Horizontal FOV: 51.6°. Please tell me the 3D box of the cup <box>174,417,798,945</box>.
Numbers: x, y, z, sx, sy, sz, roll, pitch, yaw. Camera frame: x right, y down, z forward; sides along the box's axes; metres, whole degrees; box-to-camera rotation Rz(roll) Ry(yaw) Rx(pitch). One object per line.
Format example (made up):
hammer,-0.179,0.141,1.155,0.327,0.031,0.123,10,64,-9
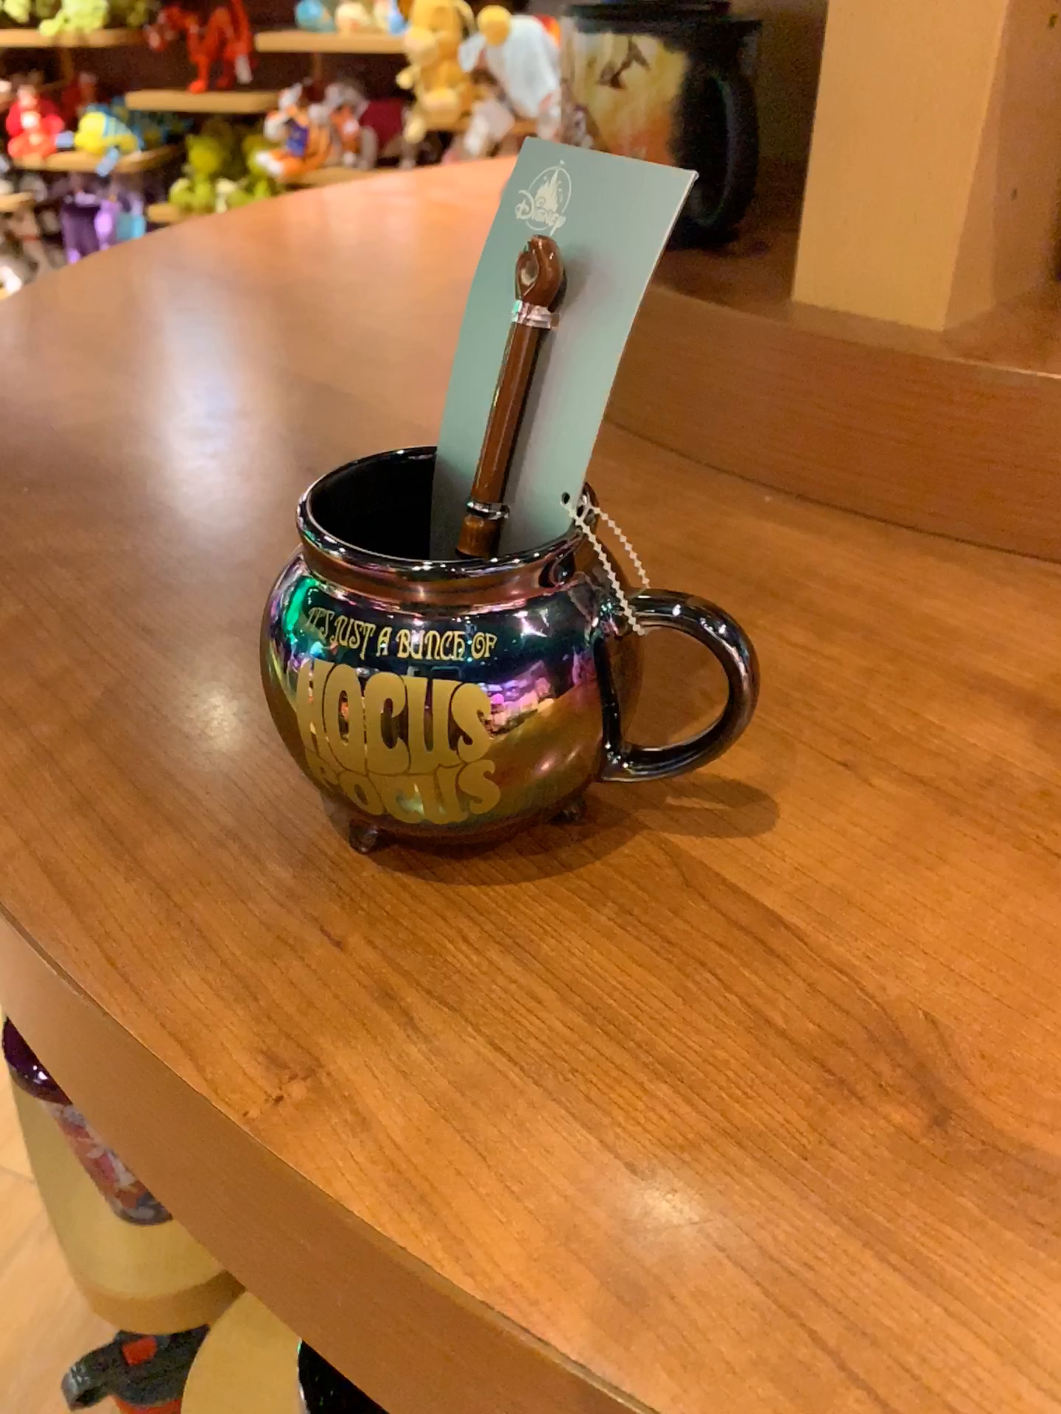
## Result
cup,-0.005,-0.015,0.309,0.136,0.089,0.101,10,35,16
